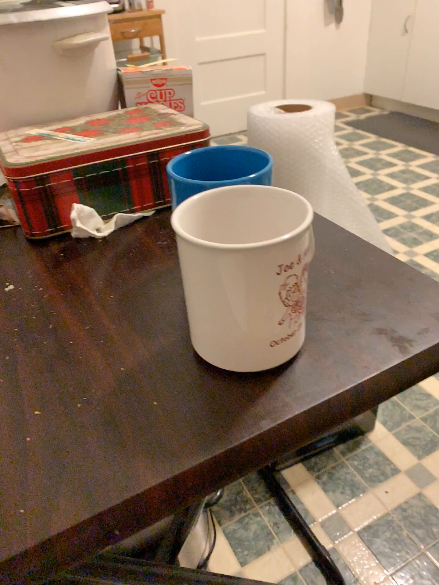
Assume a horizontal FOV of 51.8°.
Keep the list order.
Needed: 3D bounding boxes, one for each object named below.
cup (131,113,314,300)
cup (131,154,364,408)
[{"bbox_3d":[0.012,-0.082,0.388,0.090,0.099,0.140,15,39,26],"label":"cup"},{"bbox_3d":[0.027,-0.018,0.302,0.090,0.099,0.130,16,40,27],"label":"cup"}]
